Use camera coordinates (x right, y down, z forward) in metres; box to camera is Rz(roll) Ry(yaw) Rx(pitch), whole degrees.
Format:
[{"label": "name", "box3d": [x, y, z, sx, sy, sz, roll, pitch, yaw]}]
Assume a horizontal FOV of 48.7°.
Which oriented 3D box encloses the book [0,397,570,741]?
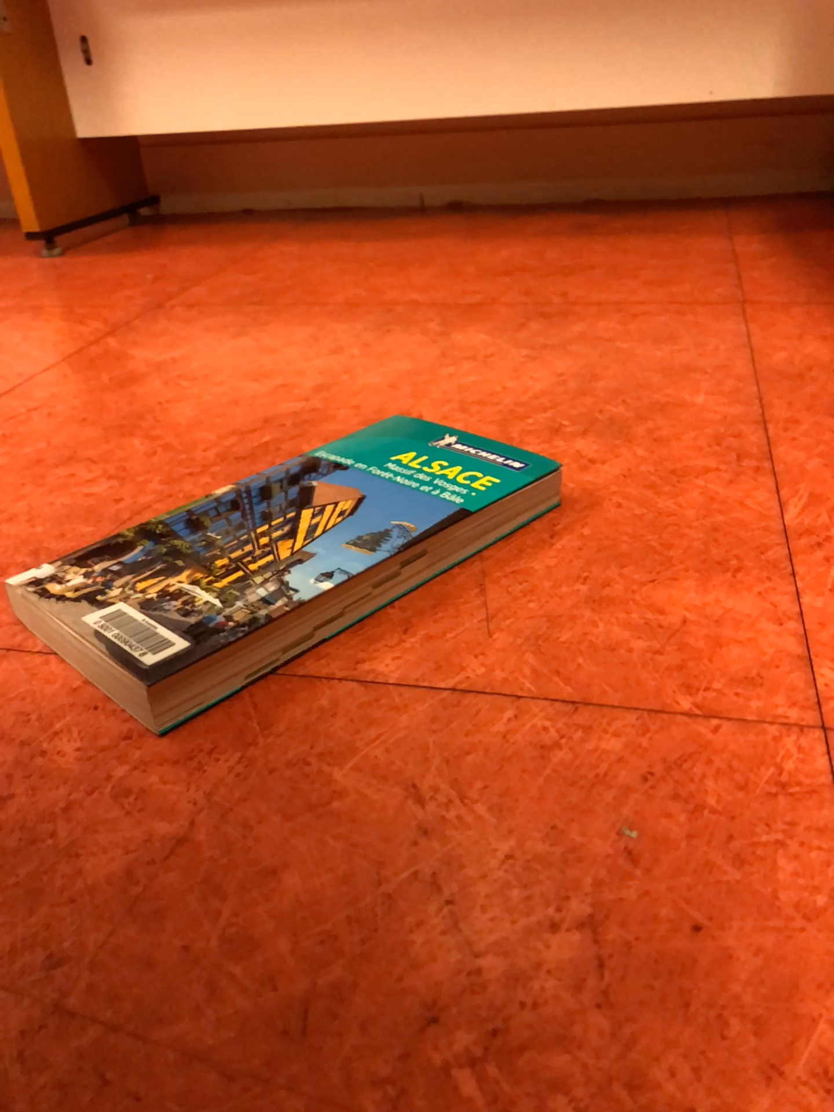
[{"label": "book", "box3d": [-0.047, -0.012, 0.389, 0.214, 0.030, 0.116, -28, 37, -36]}]
